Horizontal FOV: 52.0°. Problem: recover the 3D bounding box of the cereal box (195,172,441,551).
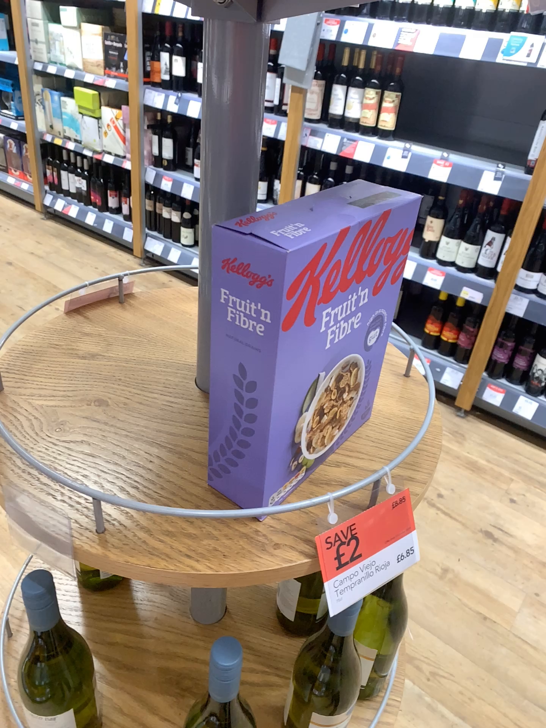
[{"bbox_3d":[0.035,-0.011,0.450,0.070,0.238,0.201,25,36,28],"label":"cereal box"}]
